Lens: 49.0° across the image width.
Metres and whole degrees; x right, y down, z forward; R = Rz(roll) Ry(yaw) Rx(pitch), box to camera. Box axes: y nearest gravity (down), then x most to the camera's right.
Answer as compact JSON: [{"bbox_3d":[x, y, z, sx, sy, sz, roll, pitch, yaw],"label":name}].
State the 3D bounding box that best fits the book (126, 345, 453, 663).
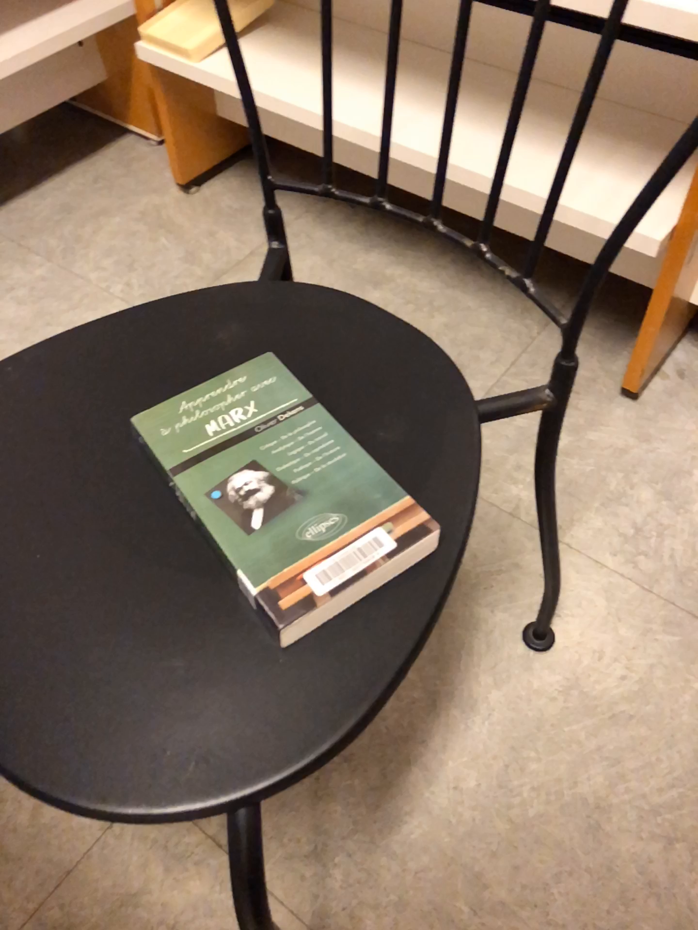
[{"bbox_3d":[-0.039,0.011,0.443,0.110,0.024,0.177,-29,56,-19],"label":"book"}]
